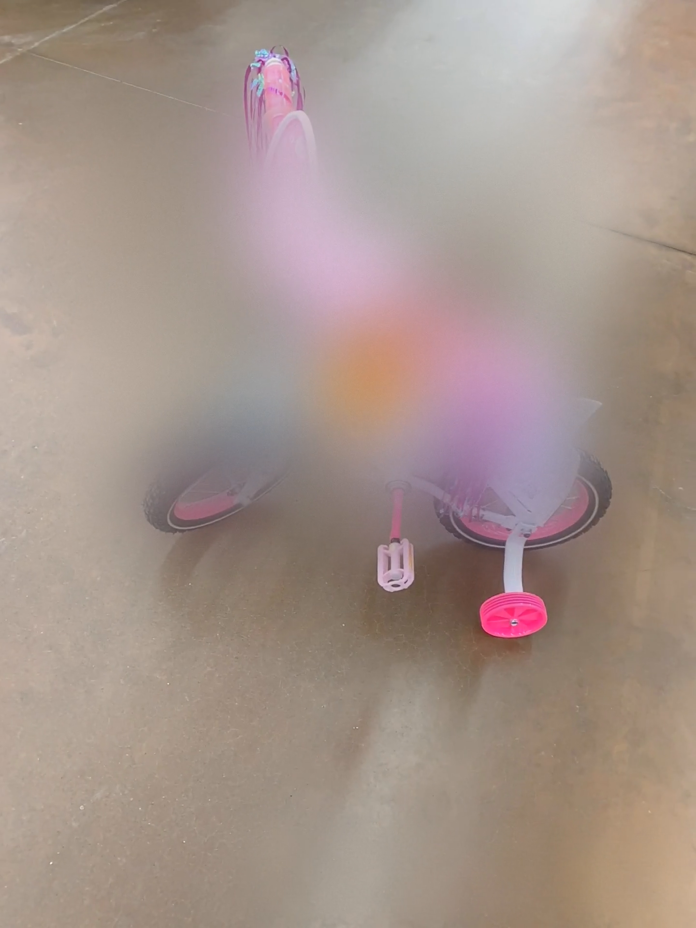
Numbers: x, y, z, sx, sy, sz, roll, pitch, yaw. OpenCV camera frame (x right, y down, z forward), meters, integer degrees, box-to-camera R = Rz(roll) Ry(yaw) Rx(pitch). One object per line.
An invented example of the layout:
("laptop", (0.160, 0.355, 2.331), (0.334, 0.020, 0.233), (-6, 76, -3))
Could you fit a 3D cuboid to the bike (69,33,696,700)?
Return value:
("bike", (0.096, -0.060, 0.995), (0.759, 0.750, 0.444), (-3, 50, -13))
